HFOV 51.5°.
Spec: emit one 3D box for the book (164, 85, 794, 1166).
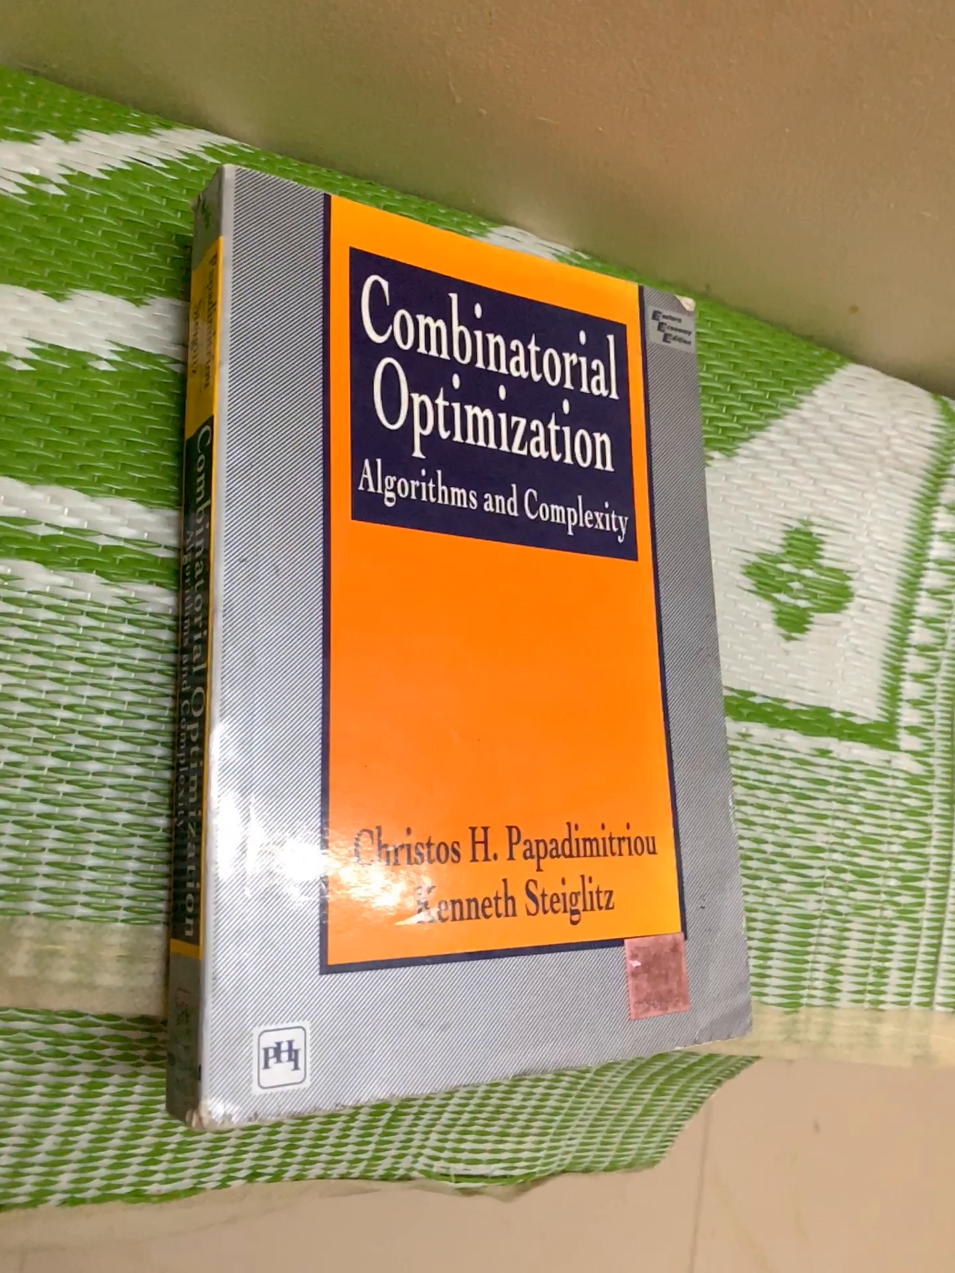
[{"bbox_3d":[0.002,-0.010,0.297,0.171,0.040,0.270,6,72,-30],"label":"book"}]
